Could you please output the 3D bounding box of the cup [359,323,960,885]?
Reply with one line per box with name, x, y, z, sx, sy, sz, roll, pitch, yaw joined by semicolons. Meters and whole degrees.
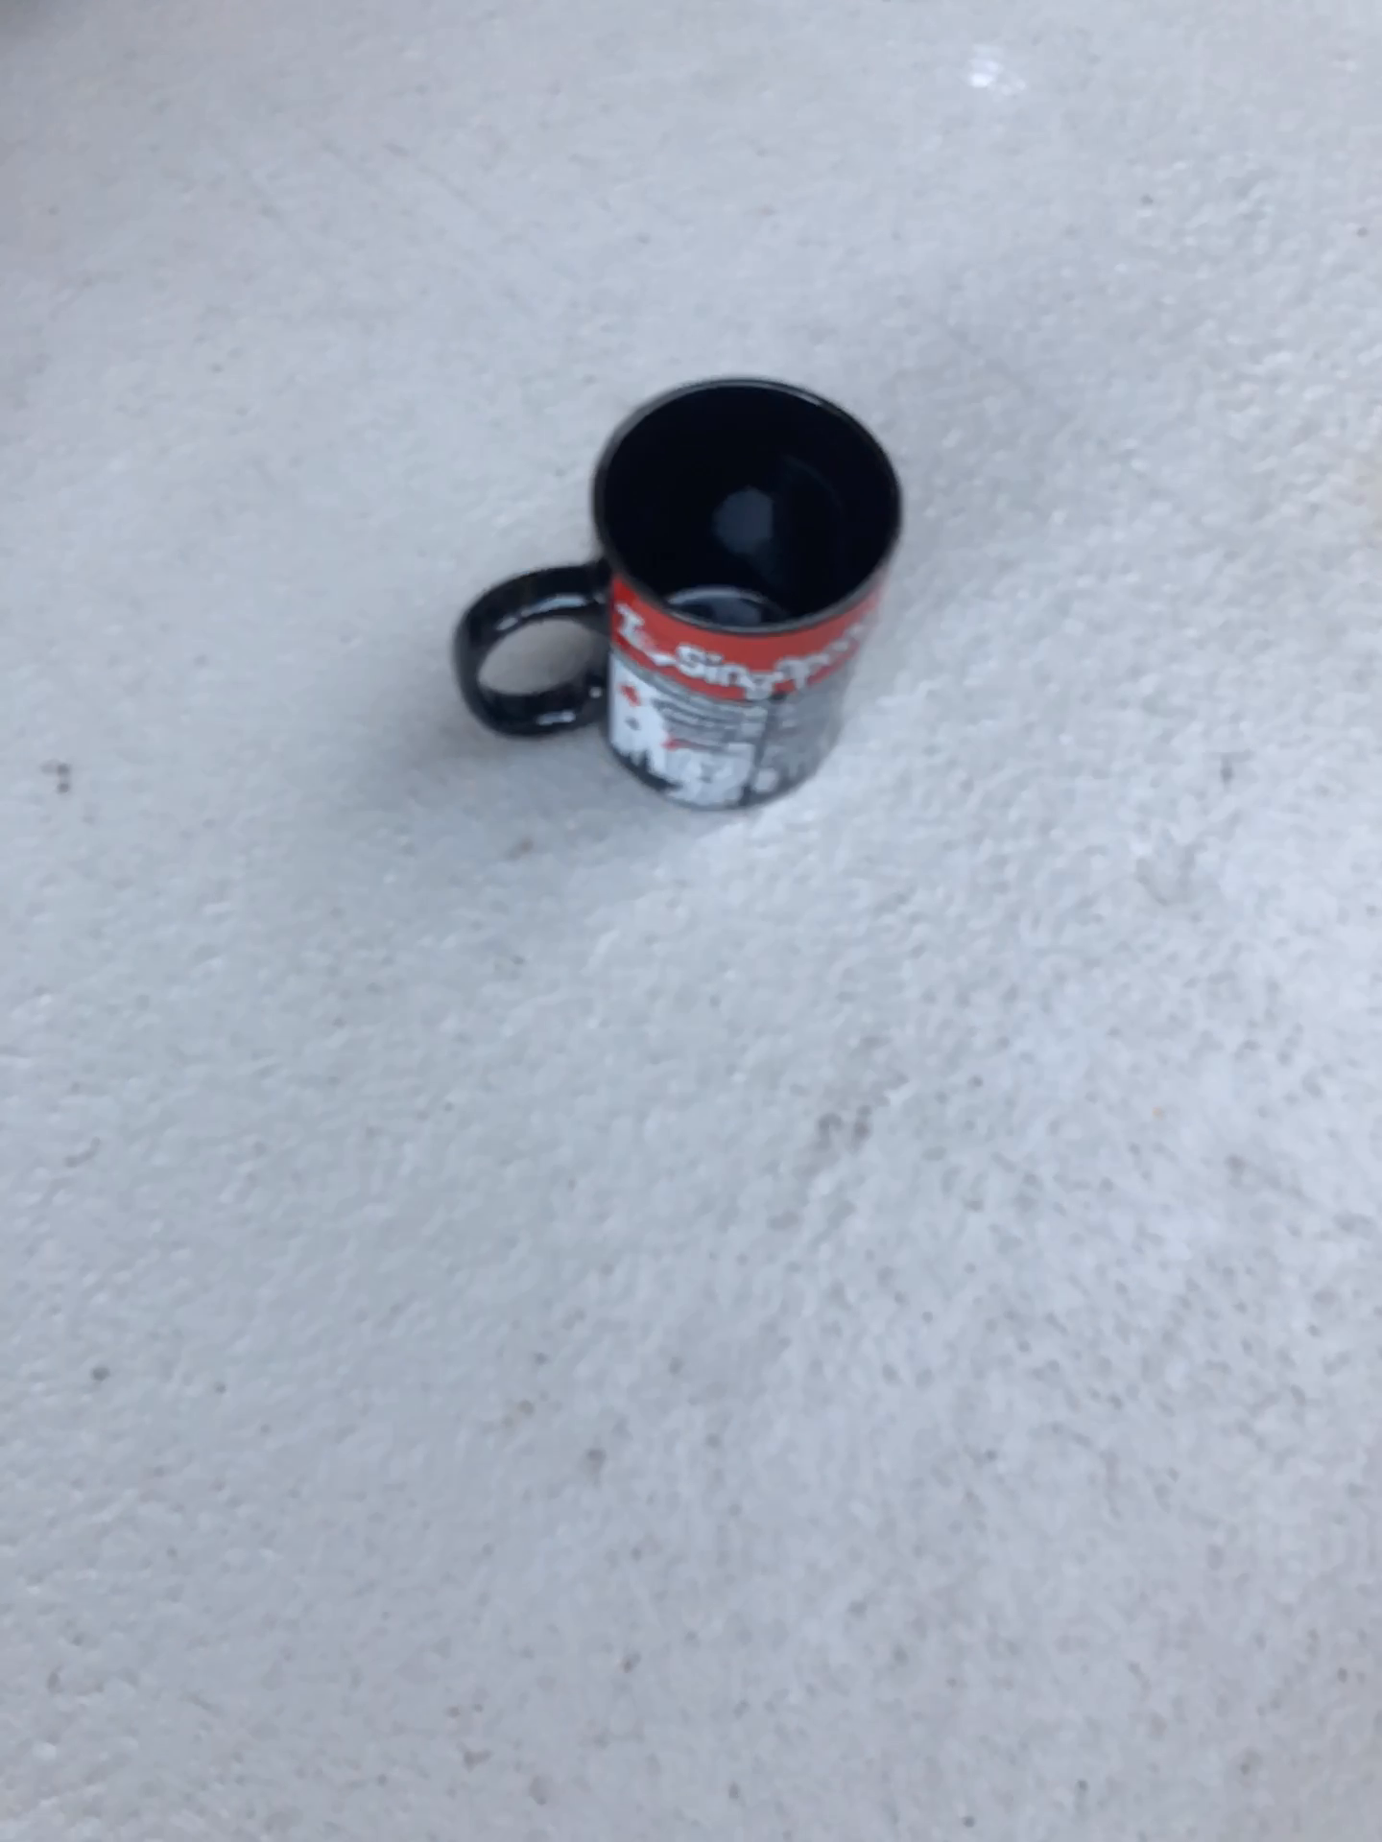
cup;-0.012;-0.083;0.429;0.130;0.110;0.080;-13;67;-10
